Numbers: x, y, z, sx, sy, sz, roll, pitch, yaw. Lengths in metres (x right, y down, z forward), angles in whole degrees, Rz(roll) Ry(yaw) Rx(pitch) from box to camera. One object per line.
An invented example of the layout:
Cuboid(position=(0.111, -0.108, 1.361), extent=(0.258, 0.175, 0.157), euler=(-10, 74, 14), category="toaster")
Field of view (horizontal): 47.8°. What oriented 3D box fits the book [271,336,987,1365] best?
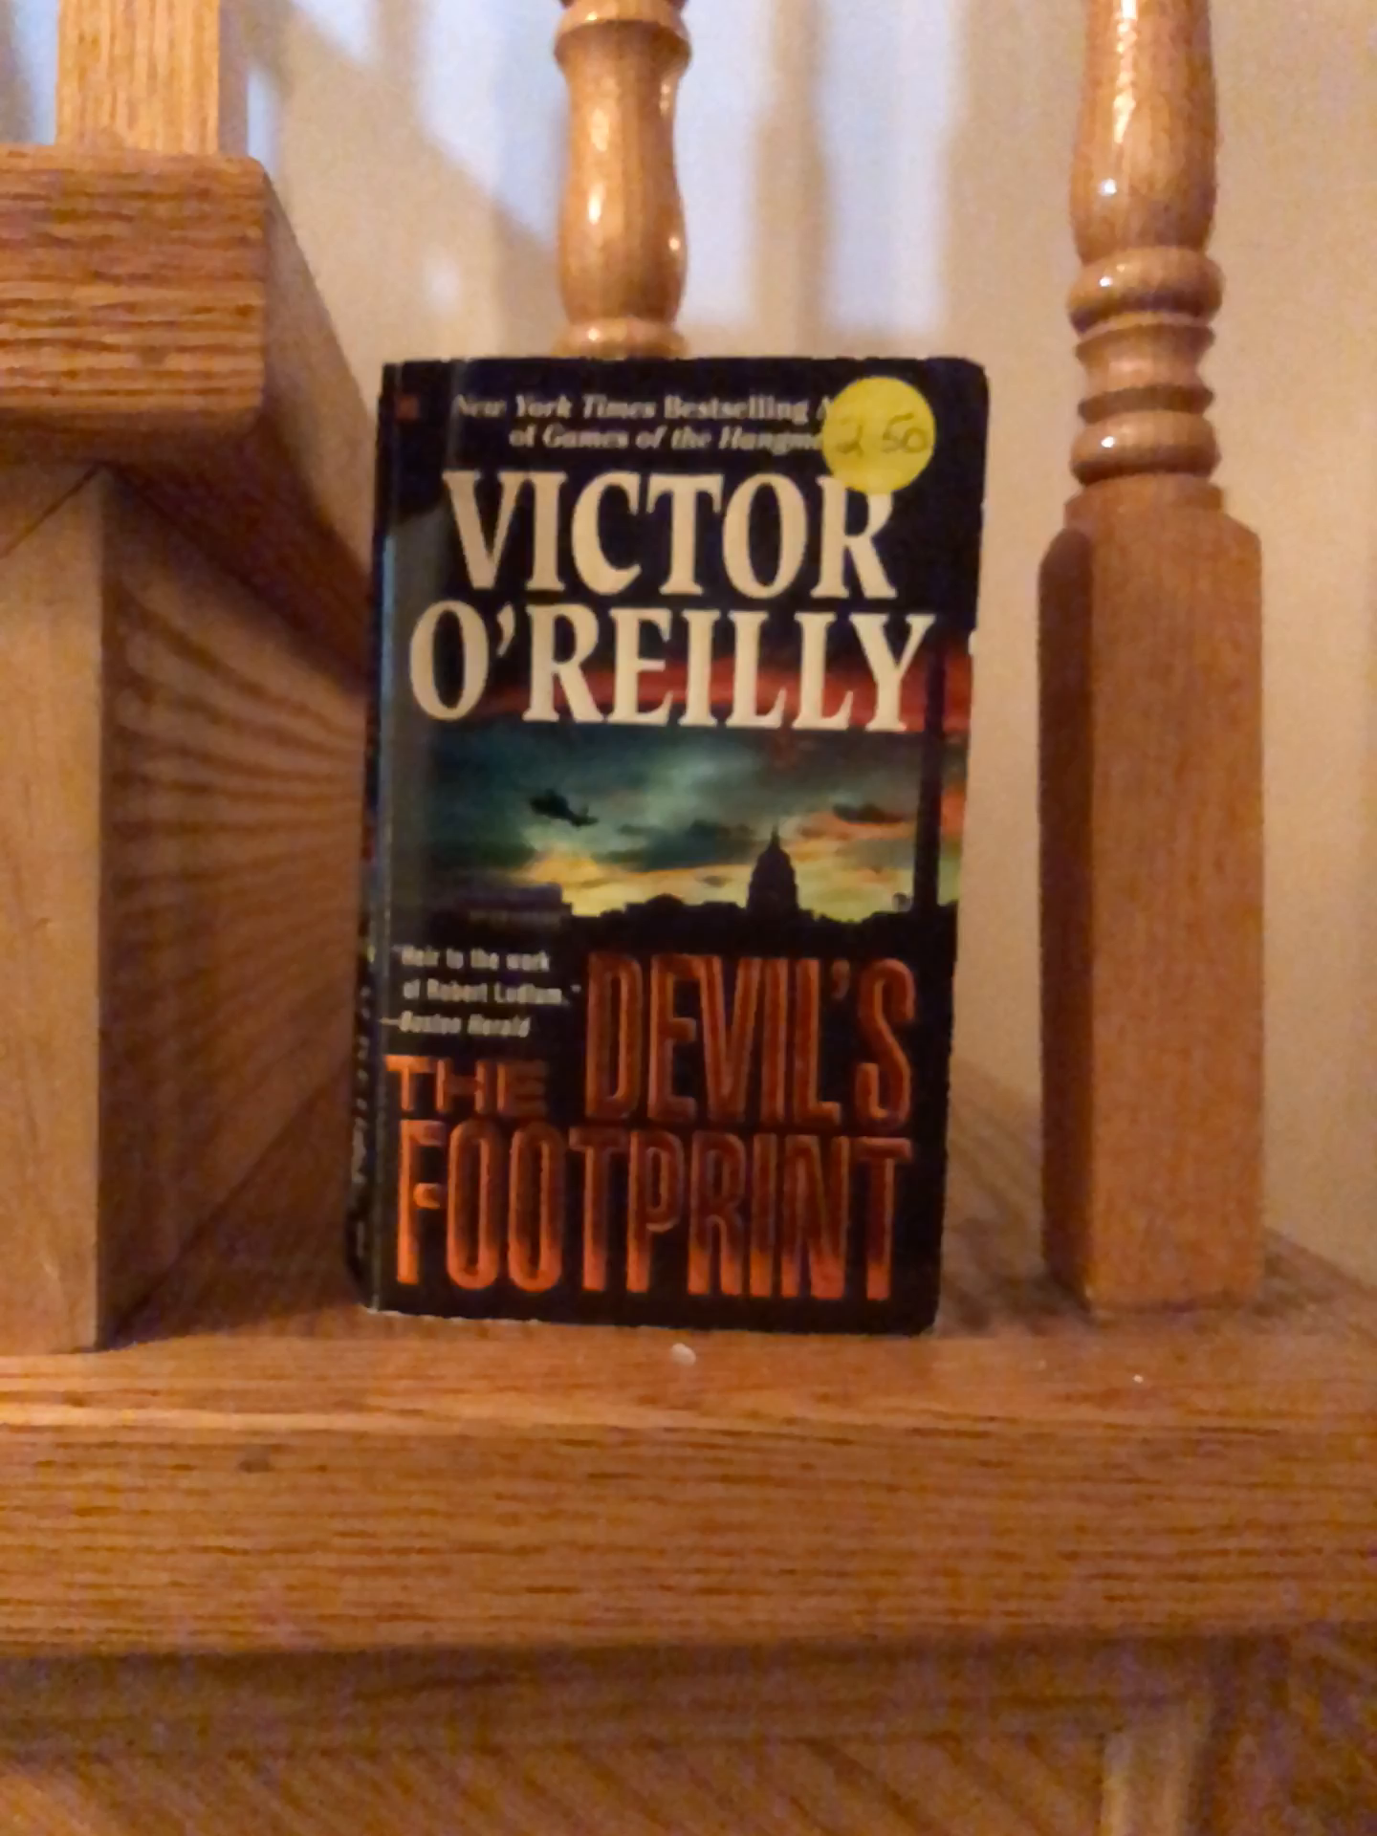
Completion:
Cuboid(position=(-0.009, -0.012, 0.289), extent=(0.120, 0.170, 0.050), euler=(1, 5, 7), category="book")
